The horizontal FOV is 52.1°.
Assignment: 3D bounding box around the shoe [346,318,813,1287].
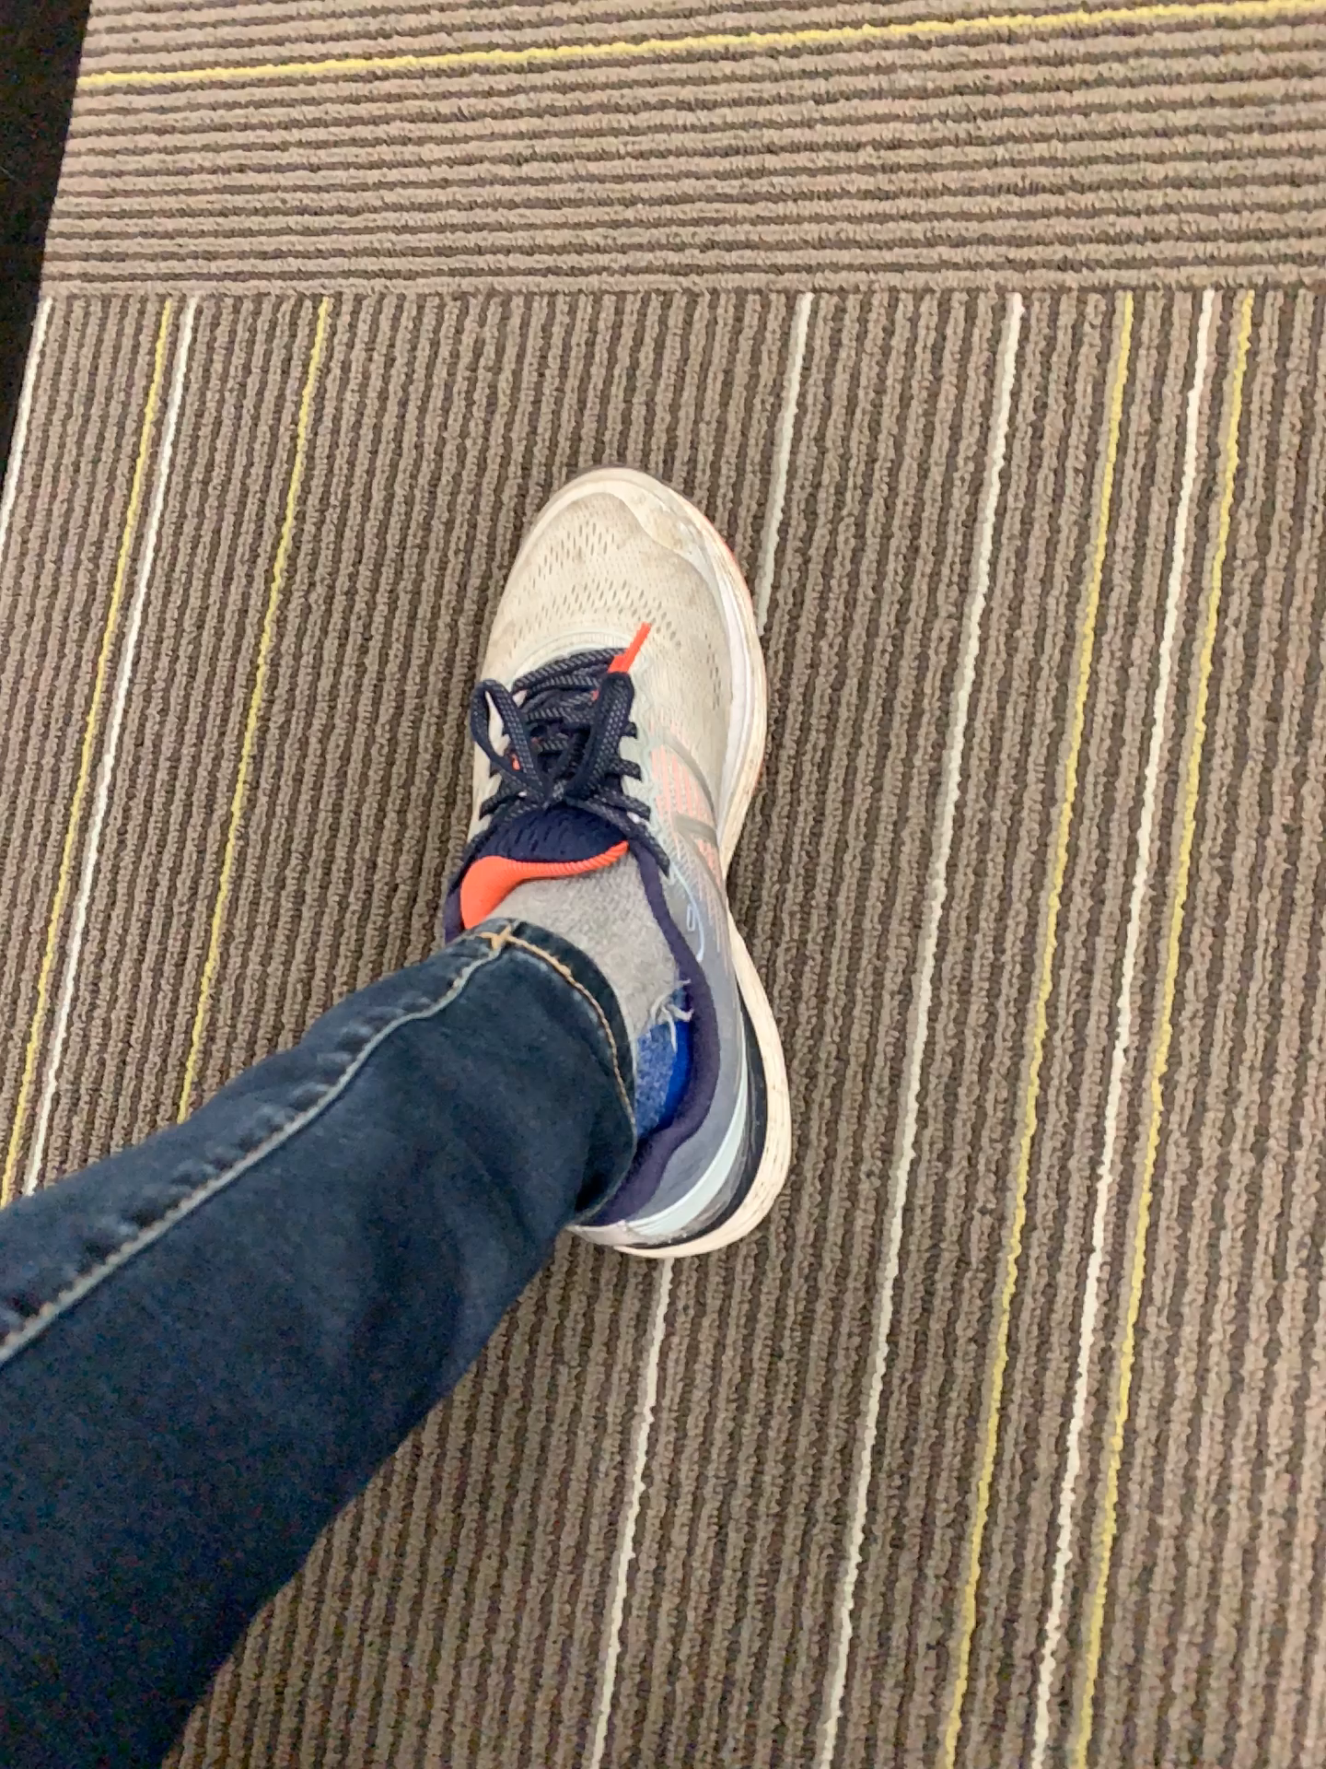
[{"bbox_3d":[-0.025,-0.020,0.431,0.110,0.090,0.270,-6,82,16],"label":"shoe"}]
